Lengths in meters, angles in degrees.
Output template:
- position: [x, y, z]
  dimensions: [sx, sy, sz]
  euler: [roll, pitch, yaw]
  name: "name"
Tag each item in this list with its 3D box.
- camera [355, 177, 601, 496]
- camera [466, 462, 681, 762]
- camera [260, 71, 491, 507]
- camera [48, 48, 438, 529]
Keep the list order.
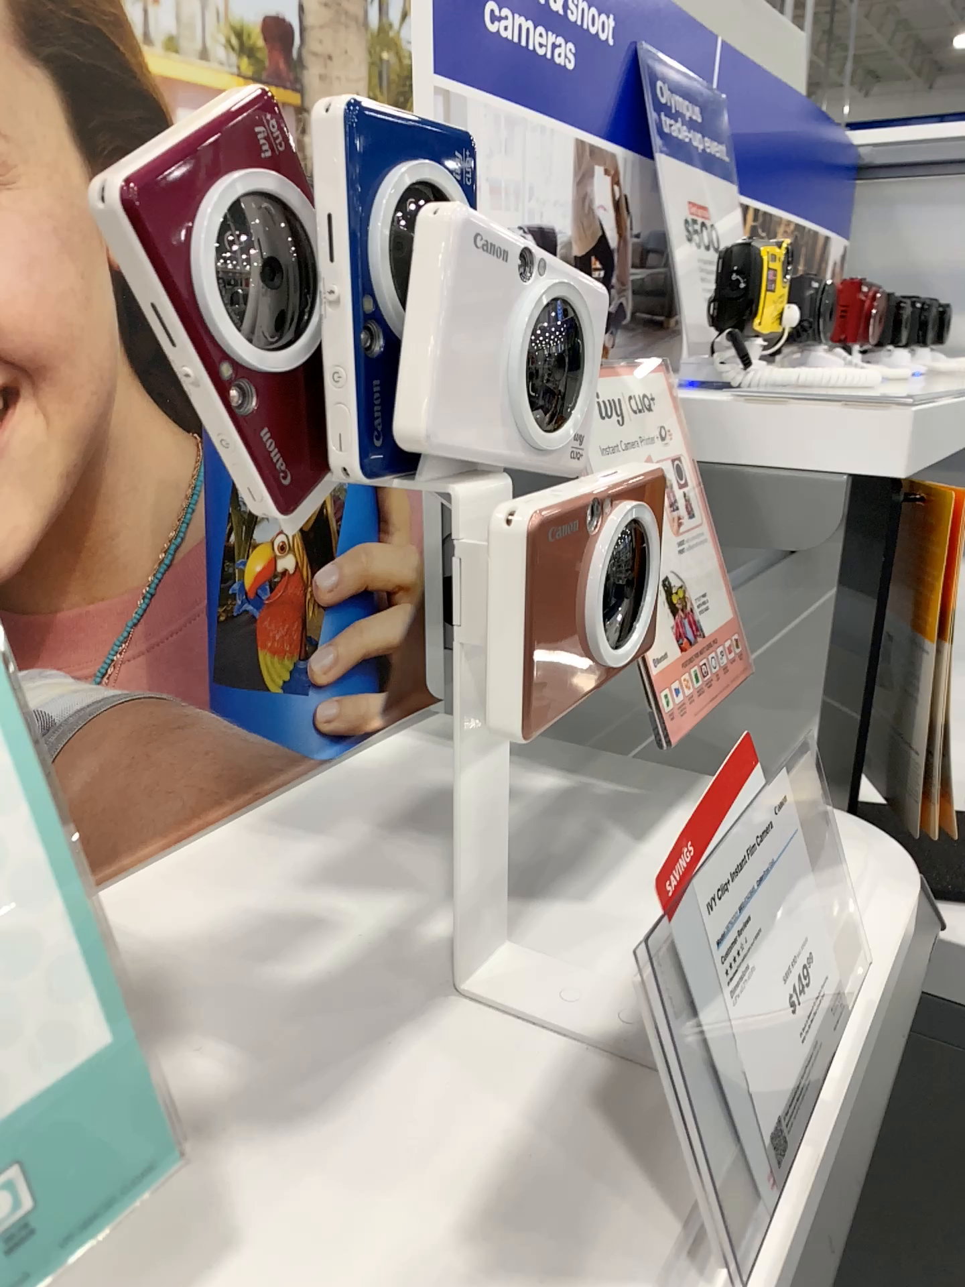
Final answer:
- position: [0.003, -0.105, 0.370]
  dimensions: [0.030, 0.090, 0.120]
  euler: [9, 8, 27]
  name: "camera"
- position: [0.036, -0.018, 0.358]
  dimensions: [0.030, 0.080, 0.120]
  euler: [9, 19, 27]
  name: "camera"
- position: [-0.033, -0.120, 0.352]
  dimensions: [0.030, 0.129, 0.080]
  euler: [12, 21, 36]
  name: "camera"
- position: [-0.068, -0.110, 0.321]
  dimensions: [0.030, 0.119, 0.080]
  euler: [12, 50, 36]
  name: "camera"
